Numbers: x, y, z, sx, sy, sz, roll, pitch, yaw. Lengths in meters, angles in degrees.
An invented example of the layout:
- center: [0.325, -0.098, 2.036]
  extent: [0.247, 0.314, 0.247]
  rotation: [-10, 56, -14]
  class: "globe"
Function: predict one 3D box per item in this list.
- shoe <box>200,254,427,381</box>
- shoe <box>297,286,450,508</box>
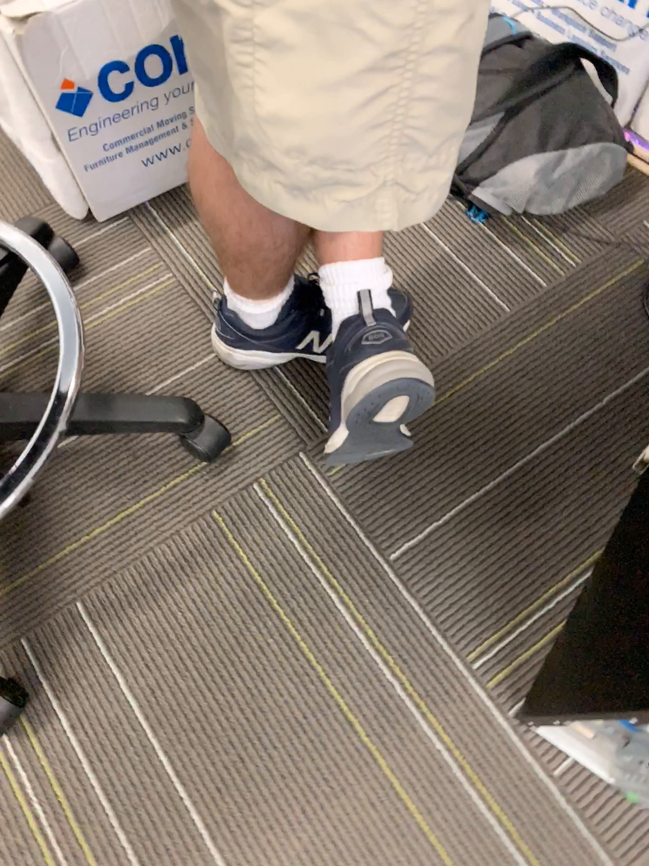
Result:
- center: [-0.018, -0.163, 0.940]
  extent: [0.296, 0.077, 0.120]
  rotation: [-8, 66, -3]
  class: "shoe"
- center: [0.049, -0.024, 0.788]
  extent: [0.122, 0.293, 0.129]
  rotation: [-13, 68, -4]
  class: "shoe"
